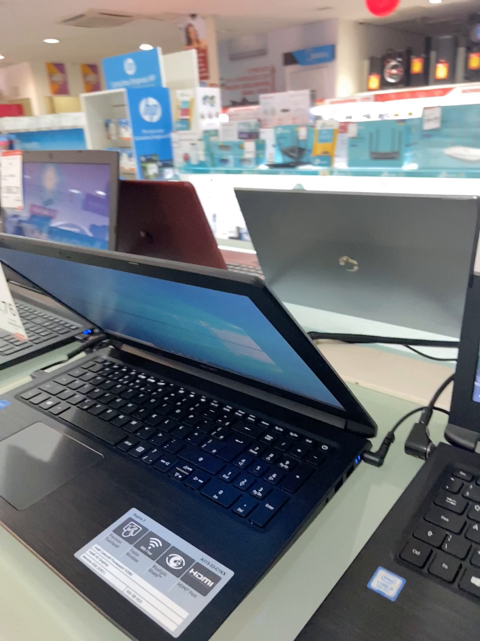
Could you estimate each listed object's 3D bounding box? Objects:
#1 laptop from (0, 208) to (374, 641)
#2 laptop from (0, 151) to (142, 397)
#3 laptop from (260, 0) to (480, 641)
[{"bbox_3d":[-0.115,0.024,0.429,0.379,0.185,0.239,13,27,37],"label":"laptop"},{"bbox_3d":[-0.421,-0.121,0.768,0.400,0.232,0.327,16,30,40],"label":"laptop"},{"bbox_3d":[0.251,0.058,0.190,0.399,0.247,0.285,14,28,38],"label":"laptop"}]
